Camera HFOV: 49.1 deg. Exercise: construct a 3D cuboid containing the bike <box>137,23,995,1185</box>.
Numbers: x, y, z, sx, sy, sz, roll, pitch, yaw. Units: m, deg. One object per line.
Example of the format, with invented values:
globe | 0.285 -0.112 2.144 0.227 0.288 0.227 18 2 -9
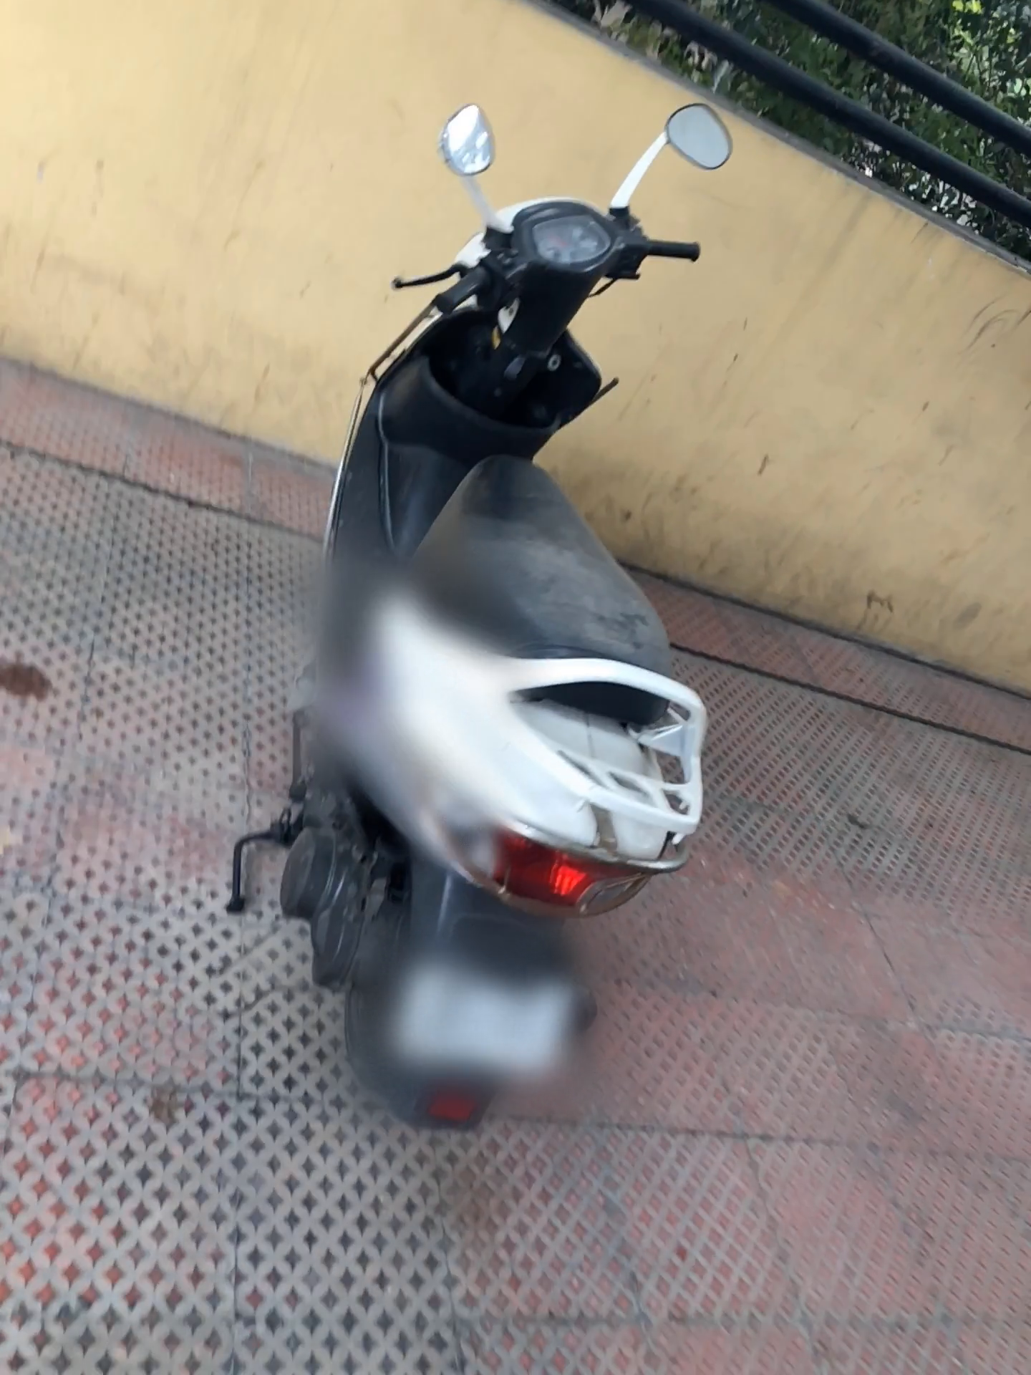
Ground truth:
bike | -0.100 -0.204 1.880 0.599 1.081 1.481 16 38 -23
